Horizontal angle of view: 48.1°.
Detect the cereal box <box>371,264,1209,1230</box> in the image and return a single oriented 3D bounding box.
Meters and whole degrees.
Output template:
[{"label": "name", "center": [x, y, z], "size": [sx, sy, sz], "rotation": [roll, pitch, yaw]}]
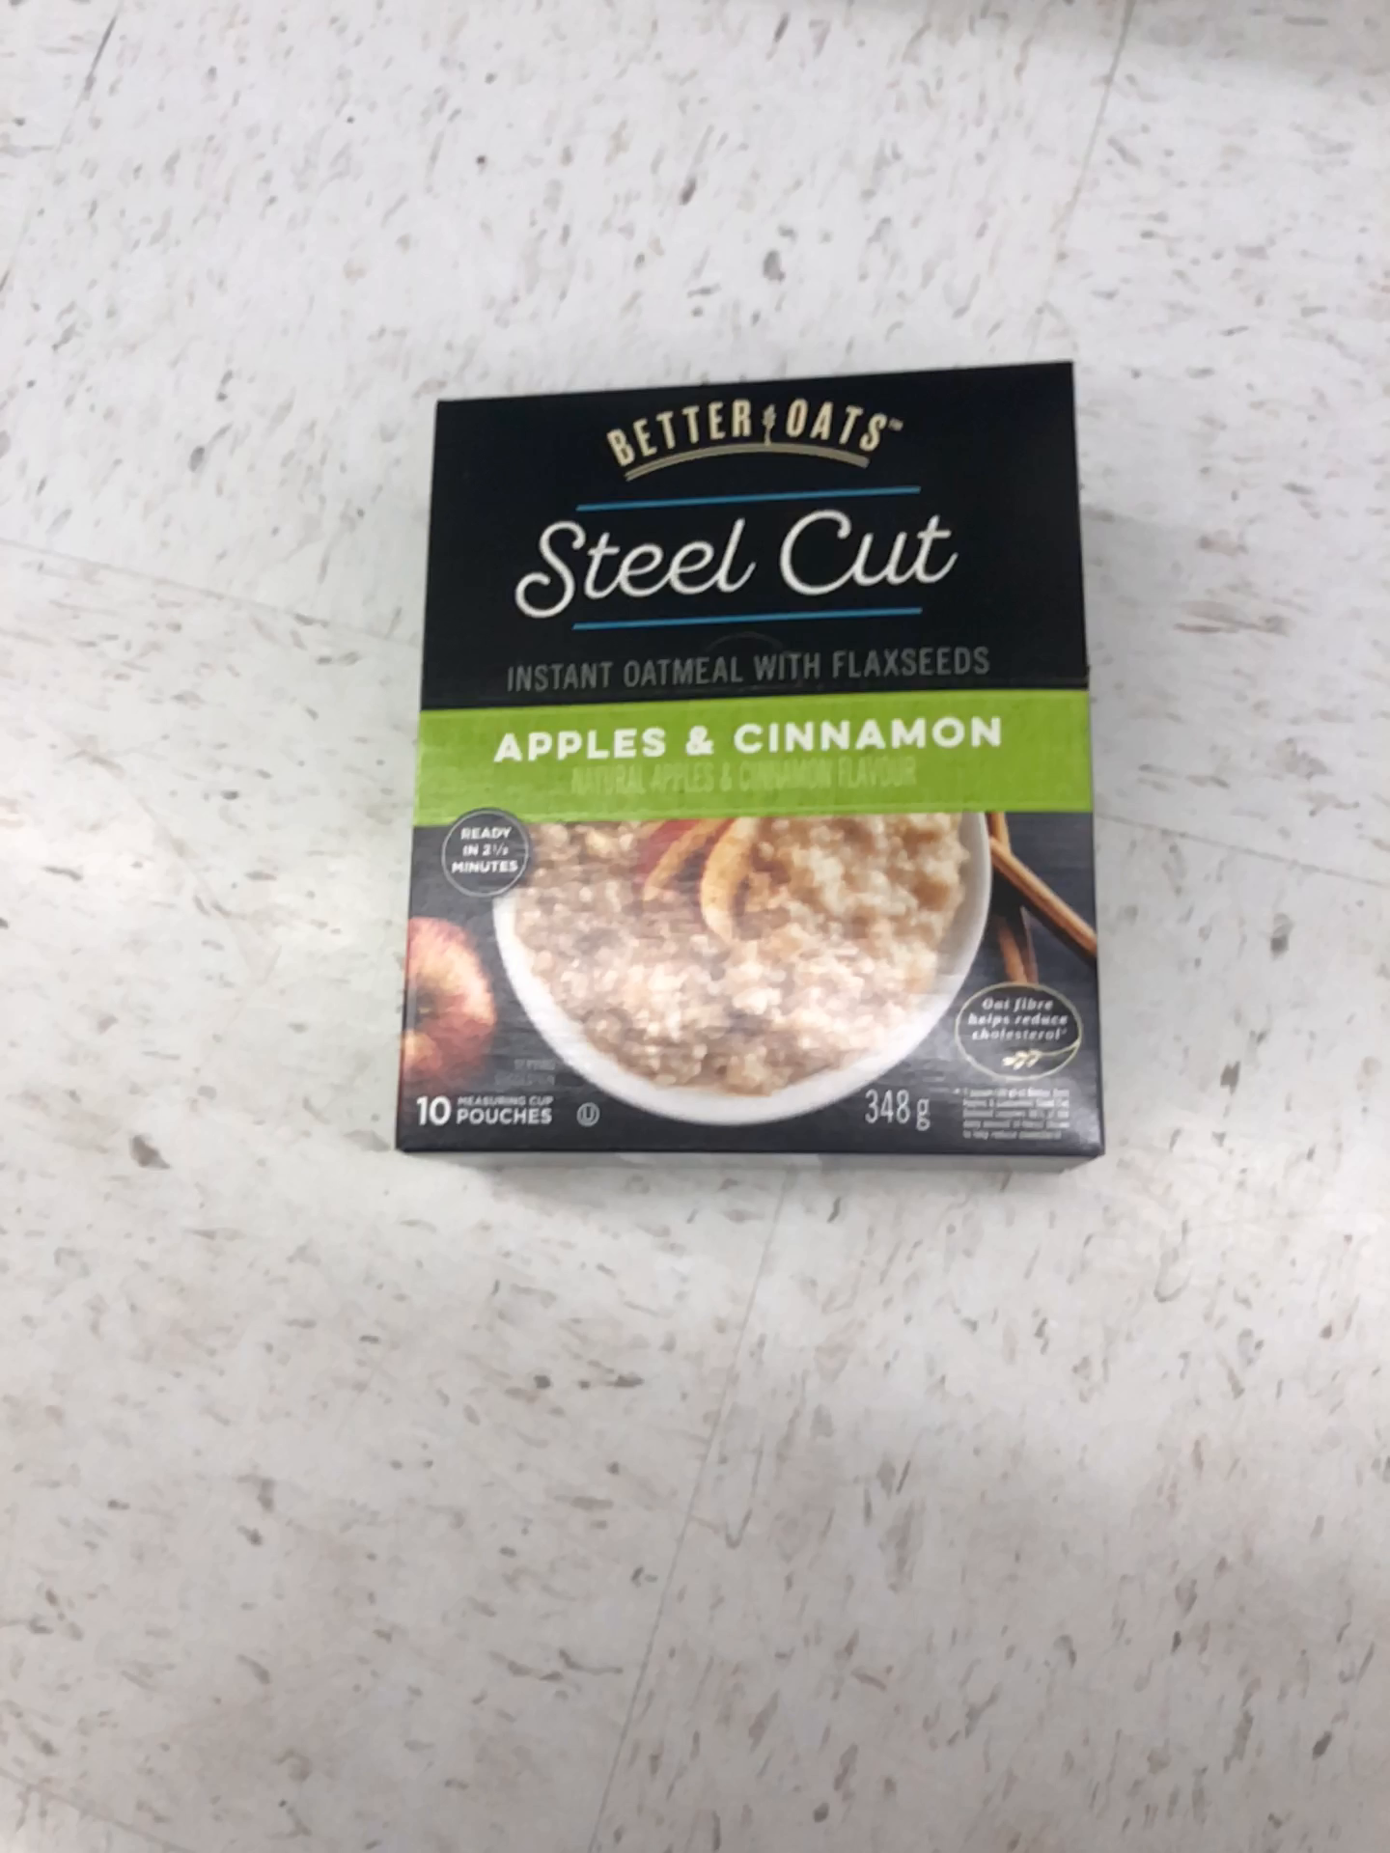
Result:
[{"label": "cereal box", "center": [0.021, -0.035, 0.353], "size": [0.160, 0.070, 0.200], "rotation": [-1, 77, 7]}]
